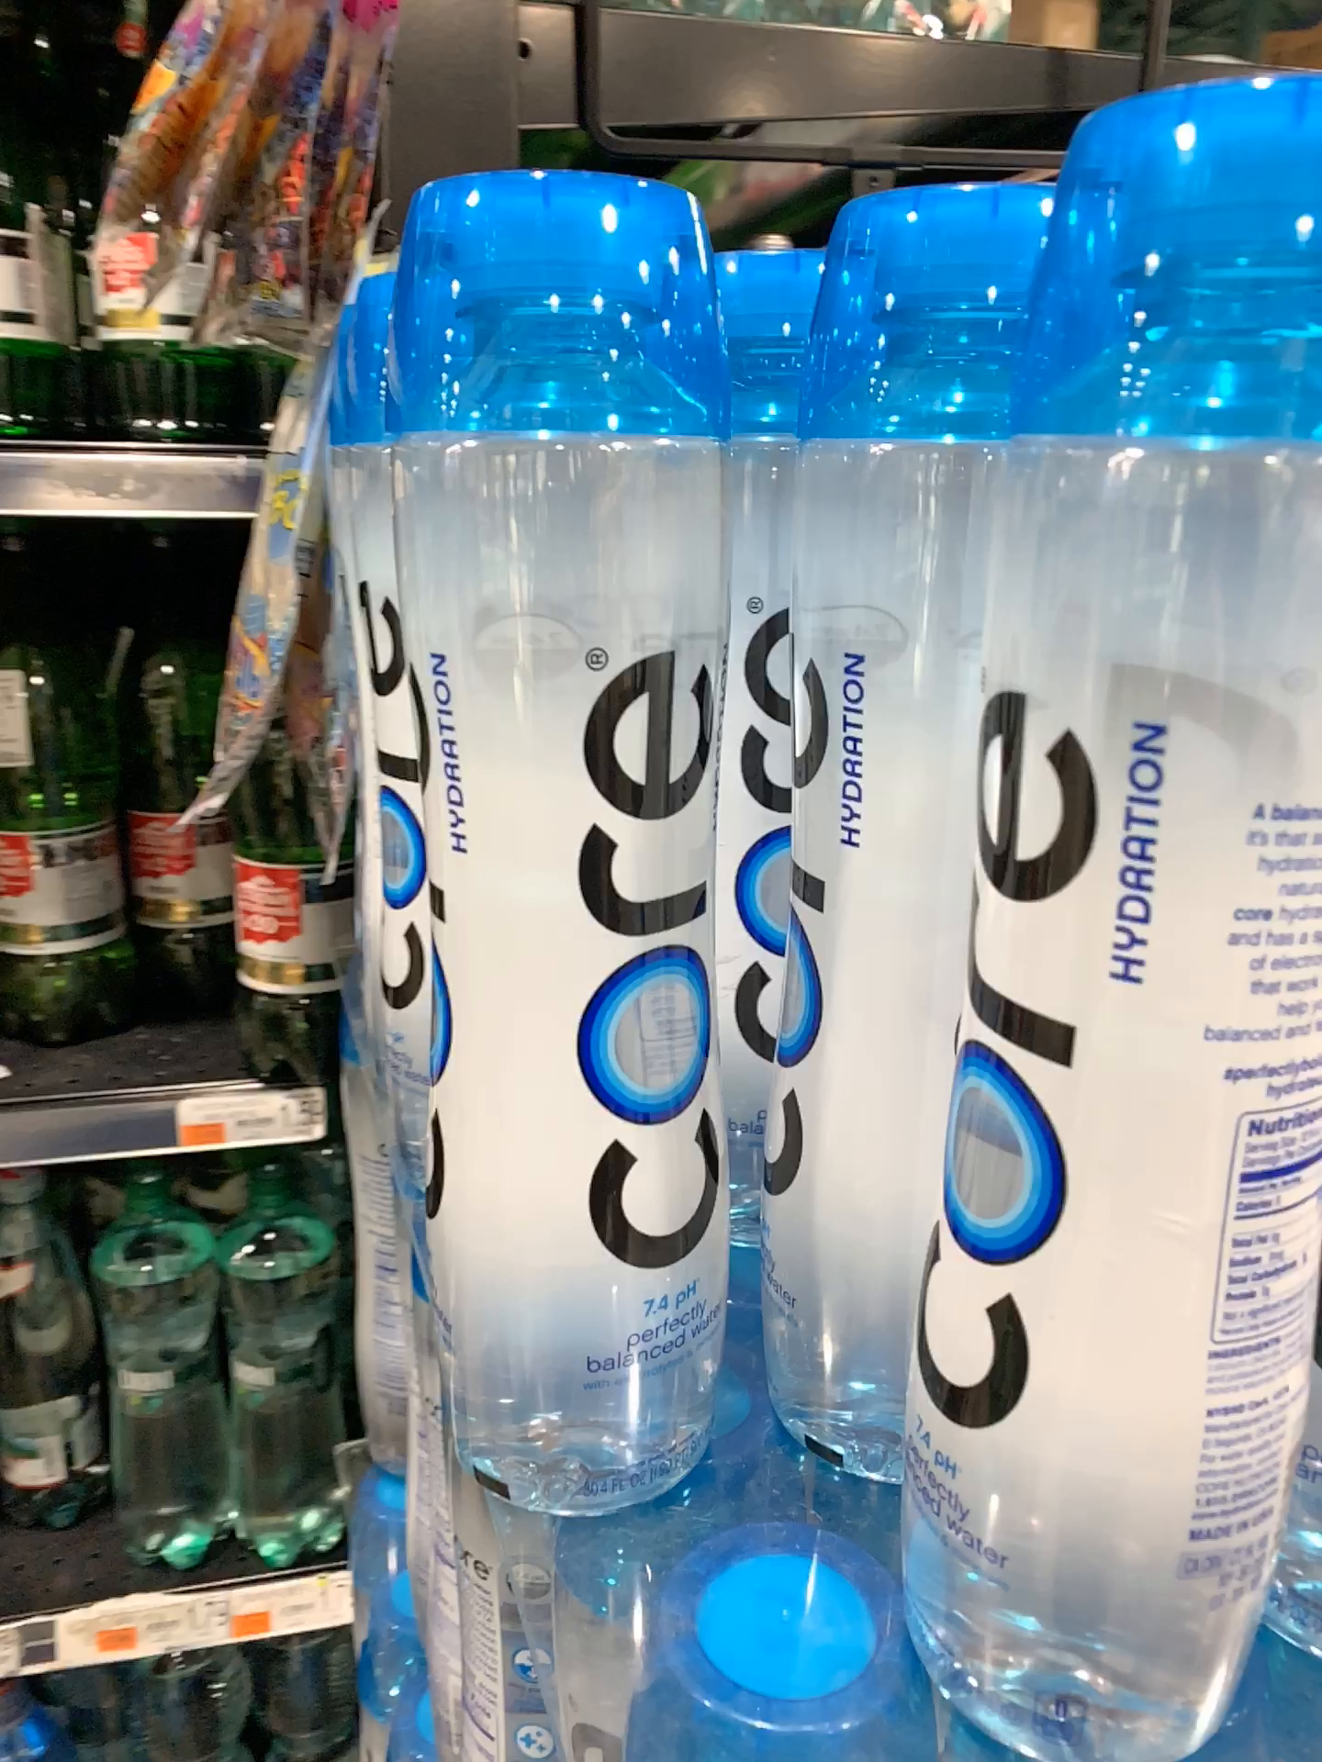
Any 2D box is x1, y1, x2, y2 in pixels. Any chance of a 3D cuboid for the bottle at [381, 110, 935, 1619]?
[{"bbox_3d":[-0.008,0.006,0.295,0.090,0.289,0.080,-2,16,-9],"label":"bottle"}]
